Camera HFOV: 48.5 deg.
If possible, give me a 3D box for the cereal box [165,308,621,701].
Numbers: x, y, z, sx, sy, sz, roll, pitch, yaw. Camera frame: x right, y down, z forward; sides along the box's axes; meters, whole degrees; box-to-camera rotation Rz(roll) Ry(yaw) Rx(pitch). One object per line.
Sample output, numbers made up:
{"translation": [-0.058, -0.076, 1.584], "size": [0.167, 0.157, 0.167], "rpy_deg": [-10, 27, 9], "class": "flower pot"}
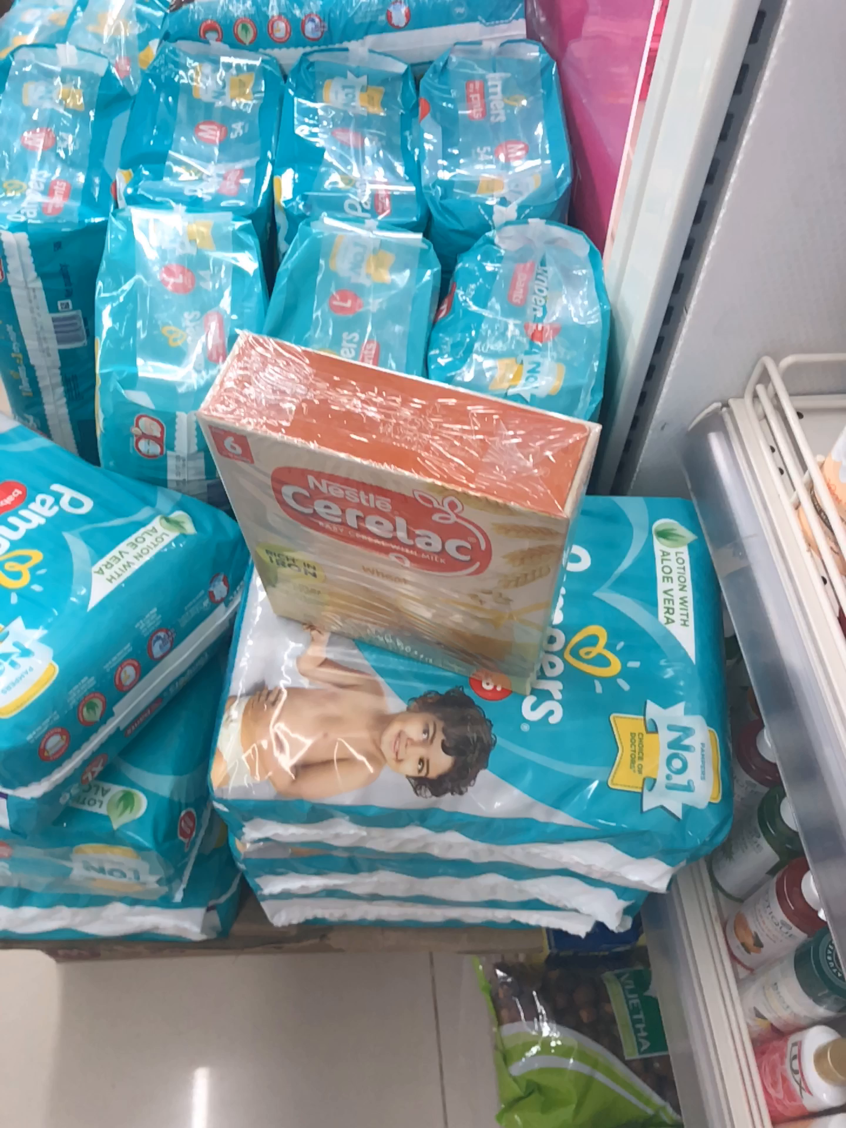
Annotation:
{"translation": [-0.010, -0.015, 0.424], "size": [0.160, 0.180, 0.050], "rpy_deg": [17, 64, 10], "class": "cereal box"}
